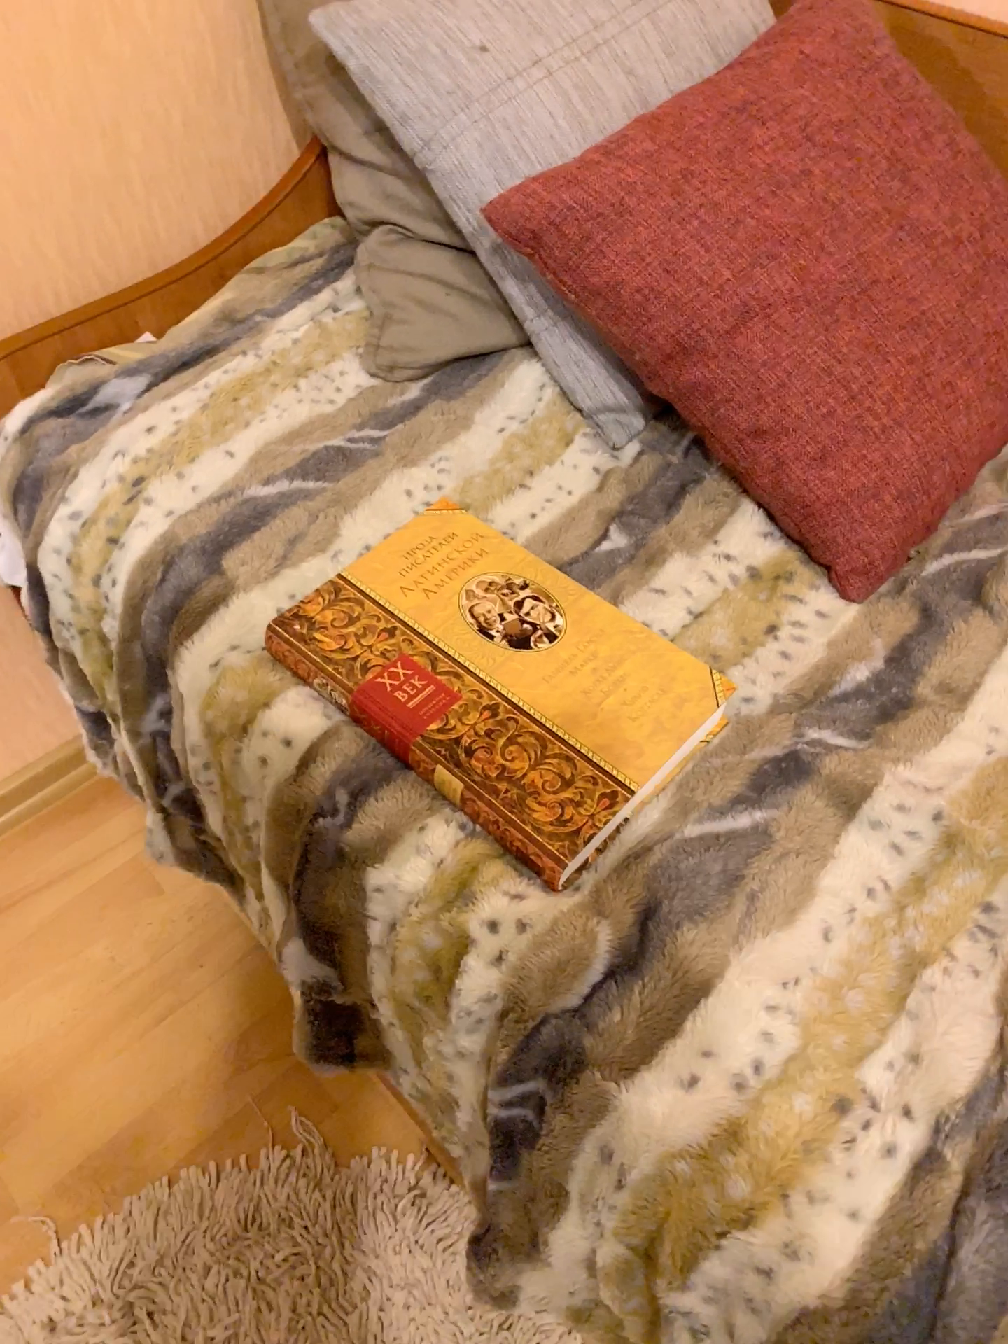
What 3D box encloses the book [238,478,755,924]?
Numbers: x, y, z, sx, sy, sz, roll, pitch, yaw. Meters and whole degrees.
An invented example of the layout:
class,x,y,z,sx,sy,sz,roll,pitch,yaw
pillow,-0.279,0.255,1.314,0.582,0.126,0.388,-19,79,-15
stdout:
class,x,y,z,sx,sy,sz,roll,pitch,yaw
book,-0.009,0.001,0.660,0.271,0.060,0.181,35,60,27
